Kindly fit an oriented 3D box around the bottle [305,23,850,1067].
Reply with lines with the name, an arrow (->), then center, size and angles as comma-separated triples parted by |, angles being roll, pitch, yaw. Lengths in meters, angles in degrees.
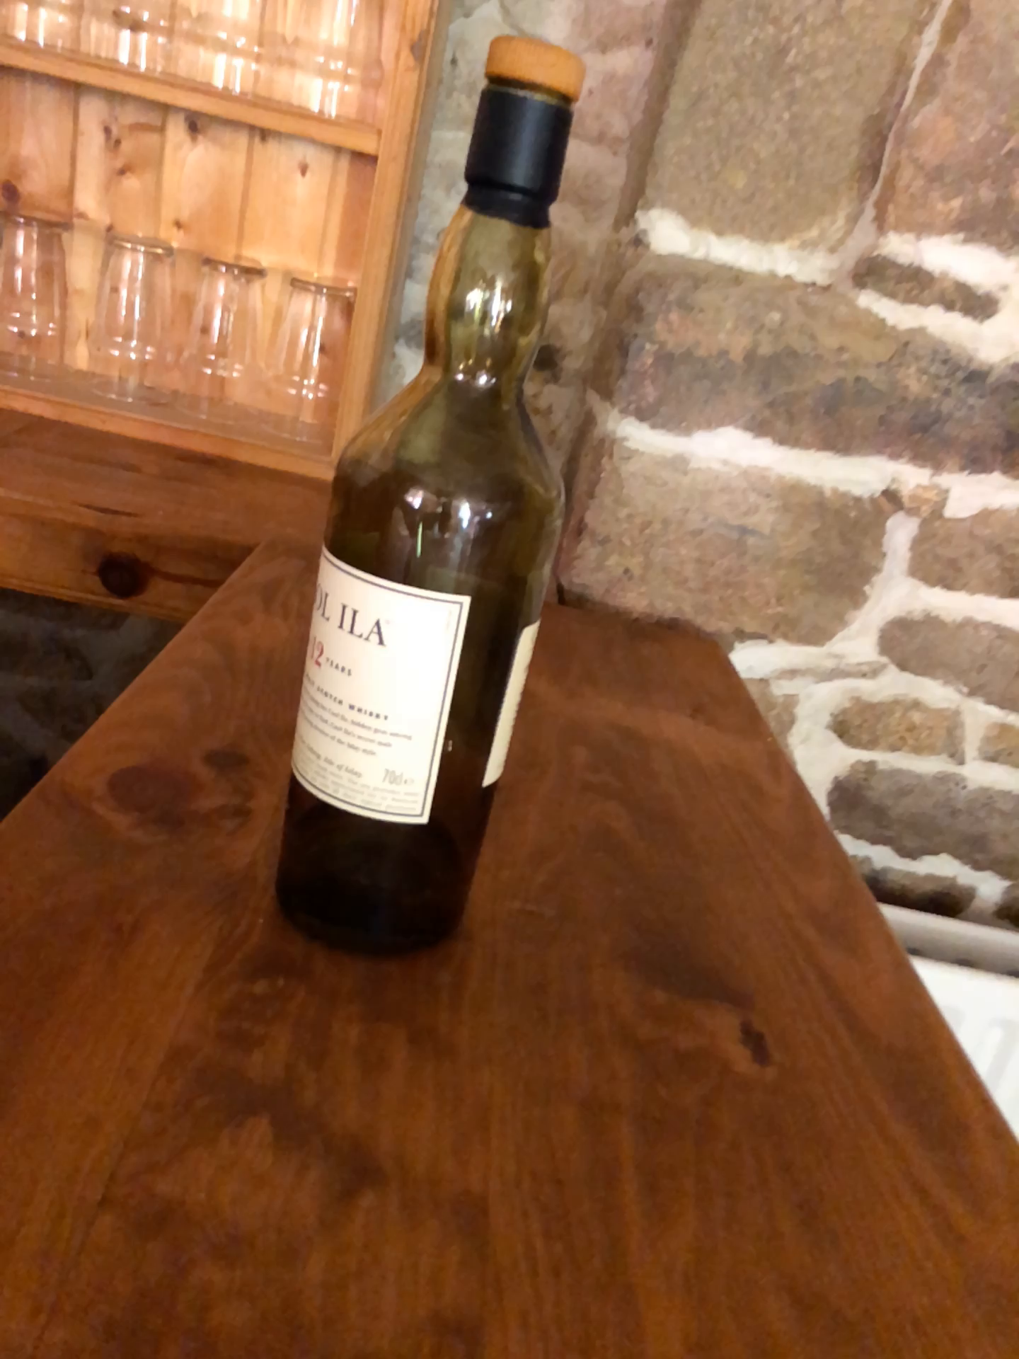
bottle -> 0.009, -0.032, 0.359 | 0.070, 0.299, 0.080 | -1, 23, -37
